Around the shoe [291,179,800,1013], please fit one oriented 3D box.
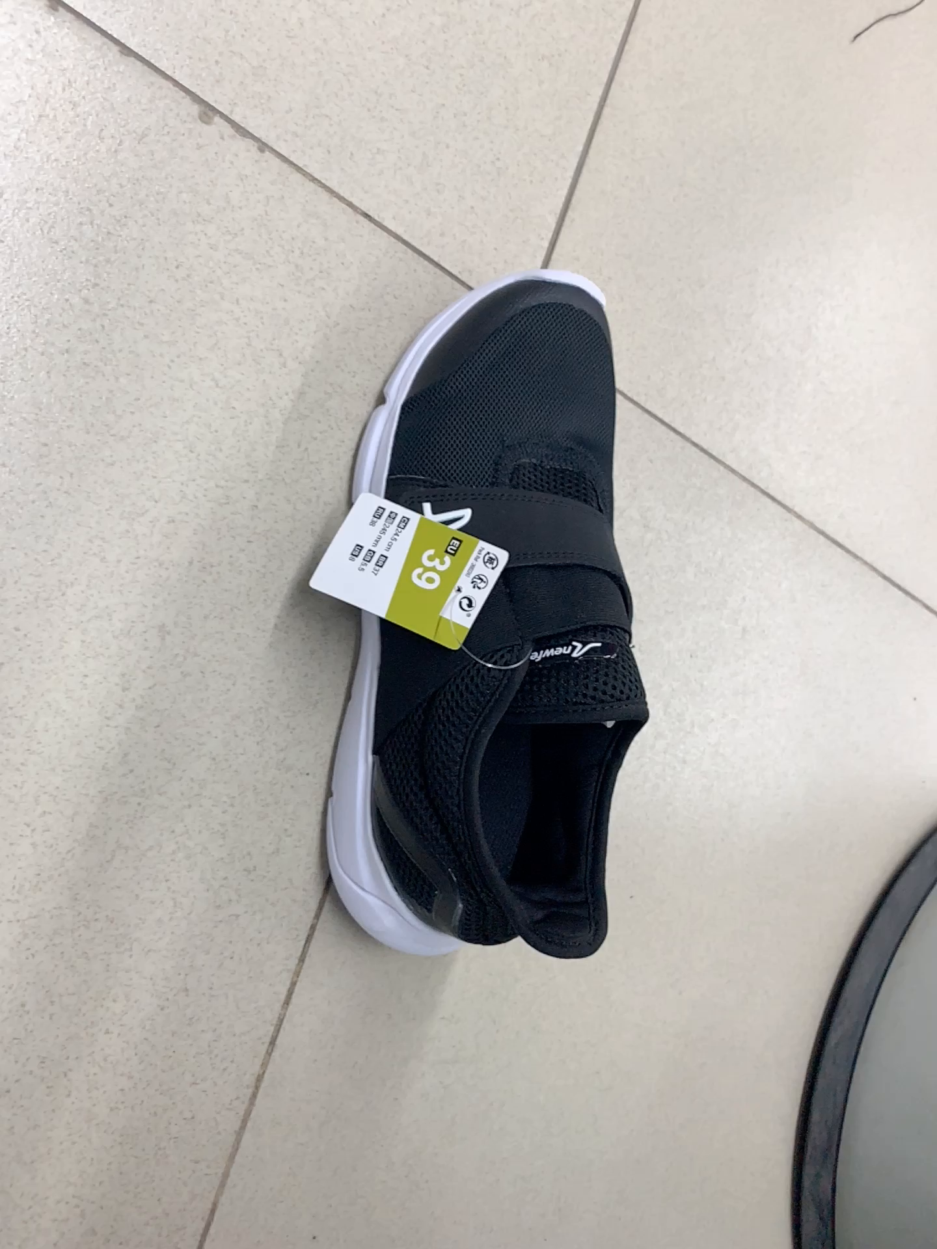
[{"bbox_3d":[0.028,-0.003,0.355,0.110,0.100,0.250,13,84,-32],"label":"shoe"}]
